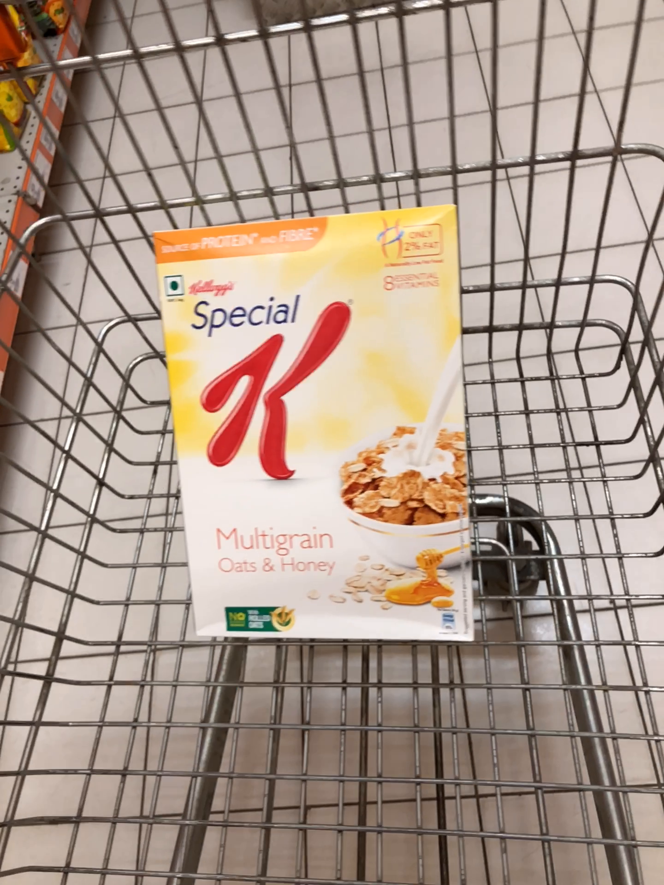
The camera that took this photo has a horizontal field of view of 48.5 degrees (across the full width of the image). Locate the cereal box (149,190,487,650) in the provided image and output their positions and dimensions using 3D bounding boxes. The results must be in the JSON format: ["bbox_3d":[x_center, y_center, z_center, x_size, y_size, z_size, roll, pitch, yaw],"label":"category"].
[{"bbox_3d":[0.001,-0.012,0.486,0.190,0.090,0.270,-2,100,10],"label":"cereal box"}]
